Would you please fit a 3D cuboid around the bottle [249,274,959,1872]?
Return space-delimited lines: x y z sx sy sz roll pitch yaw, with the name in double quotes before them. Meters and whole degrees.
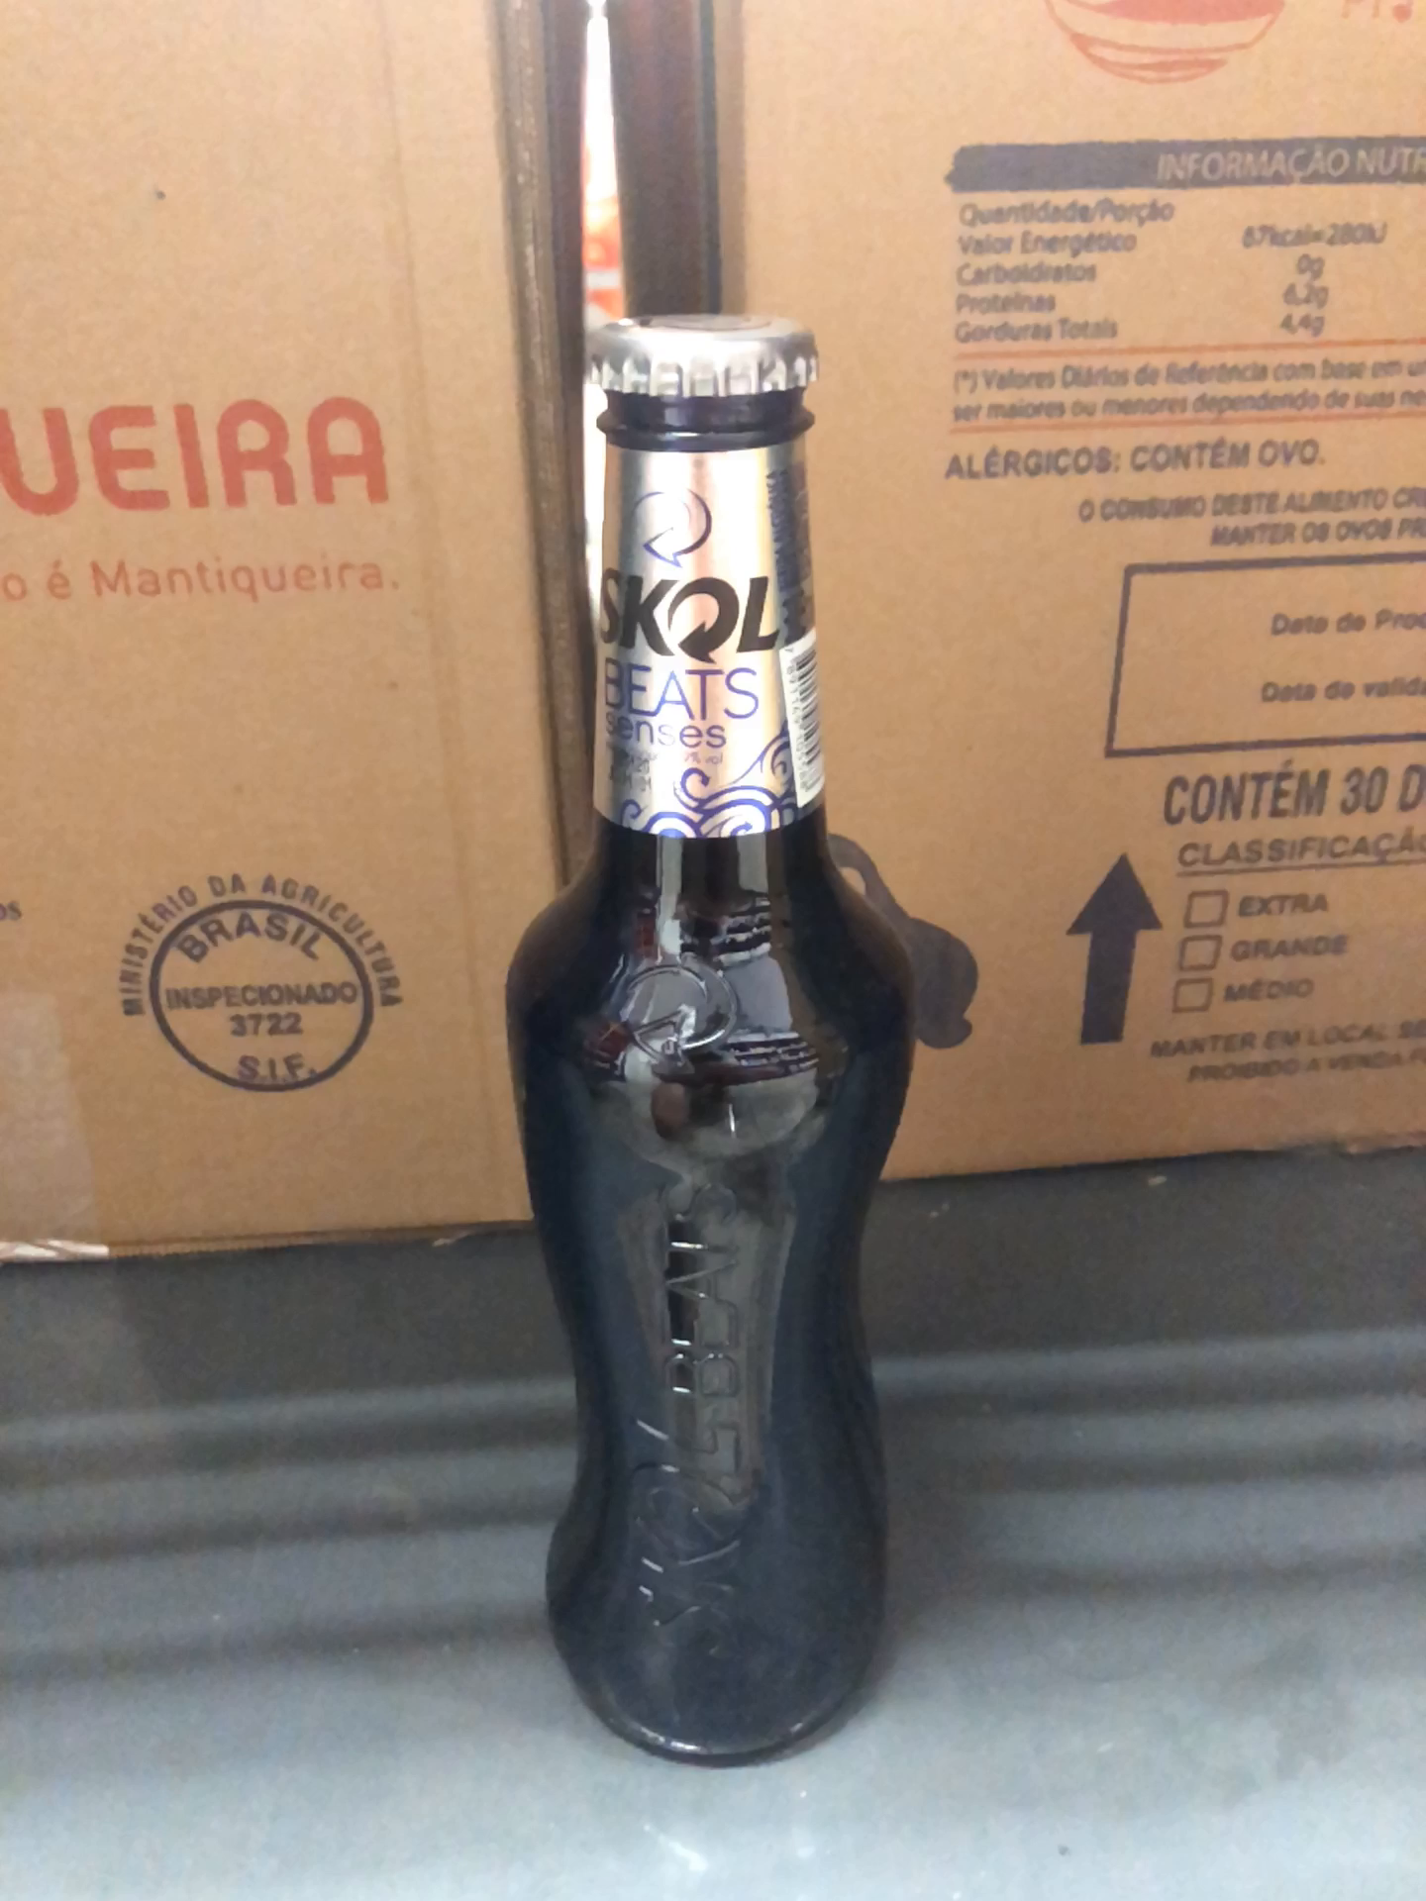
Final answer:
"bottle" -0.007 0.031 0.242 0.070 0.238 0.071 -2 27 1
